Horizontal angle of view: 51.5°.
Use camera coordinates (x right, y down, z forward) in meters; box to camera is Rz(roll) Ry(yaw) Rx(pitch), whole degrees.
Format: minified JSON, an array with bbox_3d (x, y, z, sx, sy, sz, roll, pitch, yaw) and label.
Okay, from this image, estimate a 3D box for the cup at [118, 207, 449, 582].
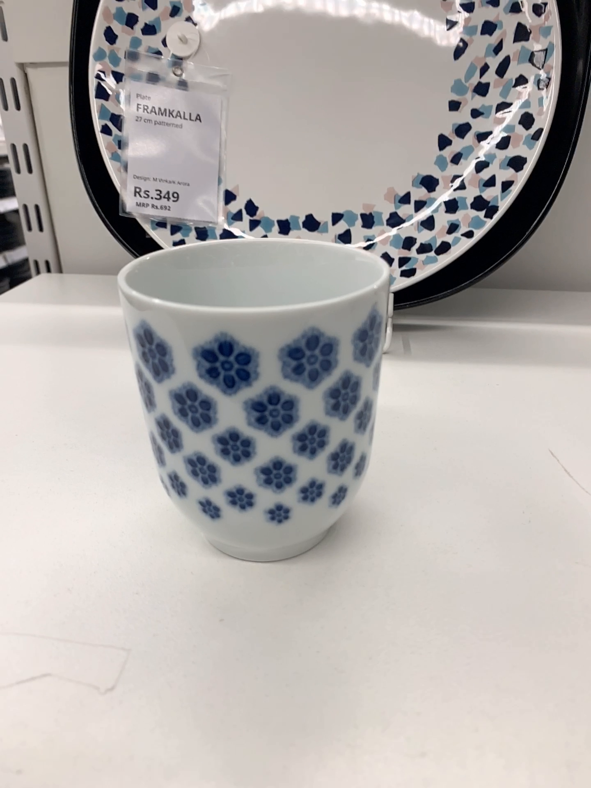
[{"bbox_3d":[-0.010,-0.009,0.187,0.070,0.080,0.080,-9,26,-18],"label":"cup"}]
